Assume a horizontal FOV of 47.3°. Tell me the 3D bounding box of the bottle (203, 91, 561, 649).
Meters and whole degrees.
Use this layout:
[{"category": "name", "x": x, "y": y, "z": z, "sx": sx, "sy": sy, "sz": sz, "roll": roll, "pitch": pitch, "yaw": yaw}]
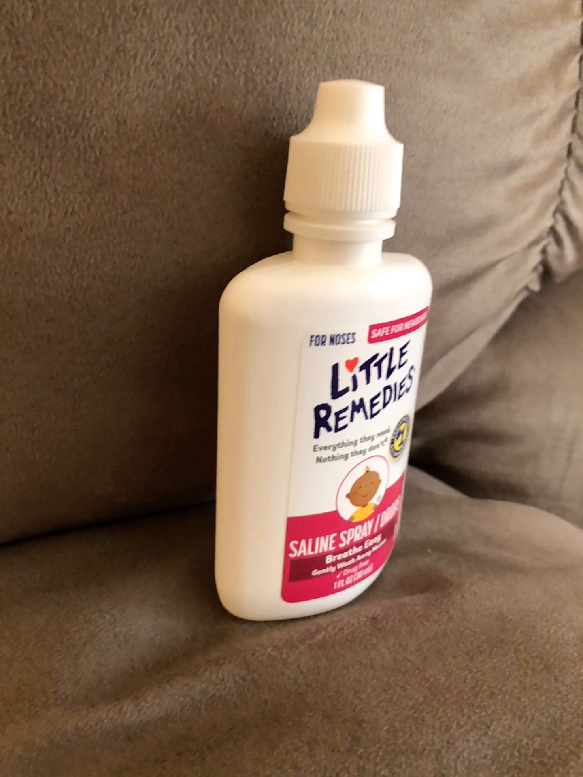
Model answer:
[{"category": "bottle", "x": 0.015, "y": -0.004, "z": 0.148, "sx": 0.060, "sy": 0.110, "sz": 0.030, "roll": -11, "pitch": 29, "yaw": -30}]
